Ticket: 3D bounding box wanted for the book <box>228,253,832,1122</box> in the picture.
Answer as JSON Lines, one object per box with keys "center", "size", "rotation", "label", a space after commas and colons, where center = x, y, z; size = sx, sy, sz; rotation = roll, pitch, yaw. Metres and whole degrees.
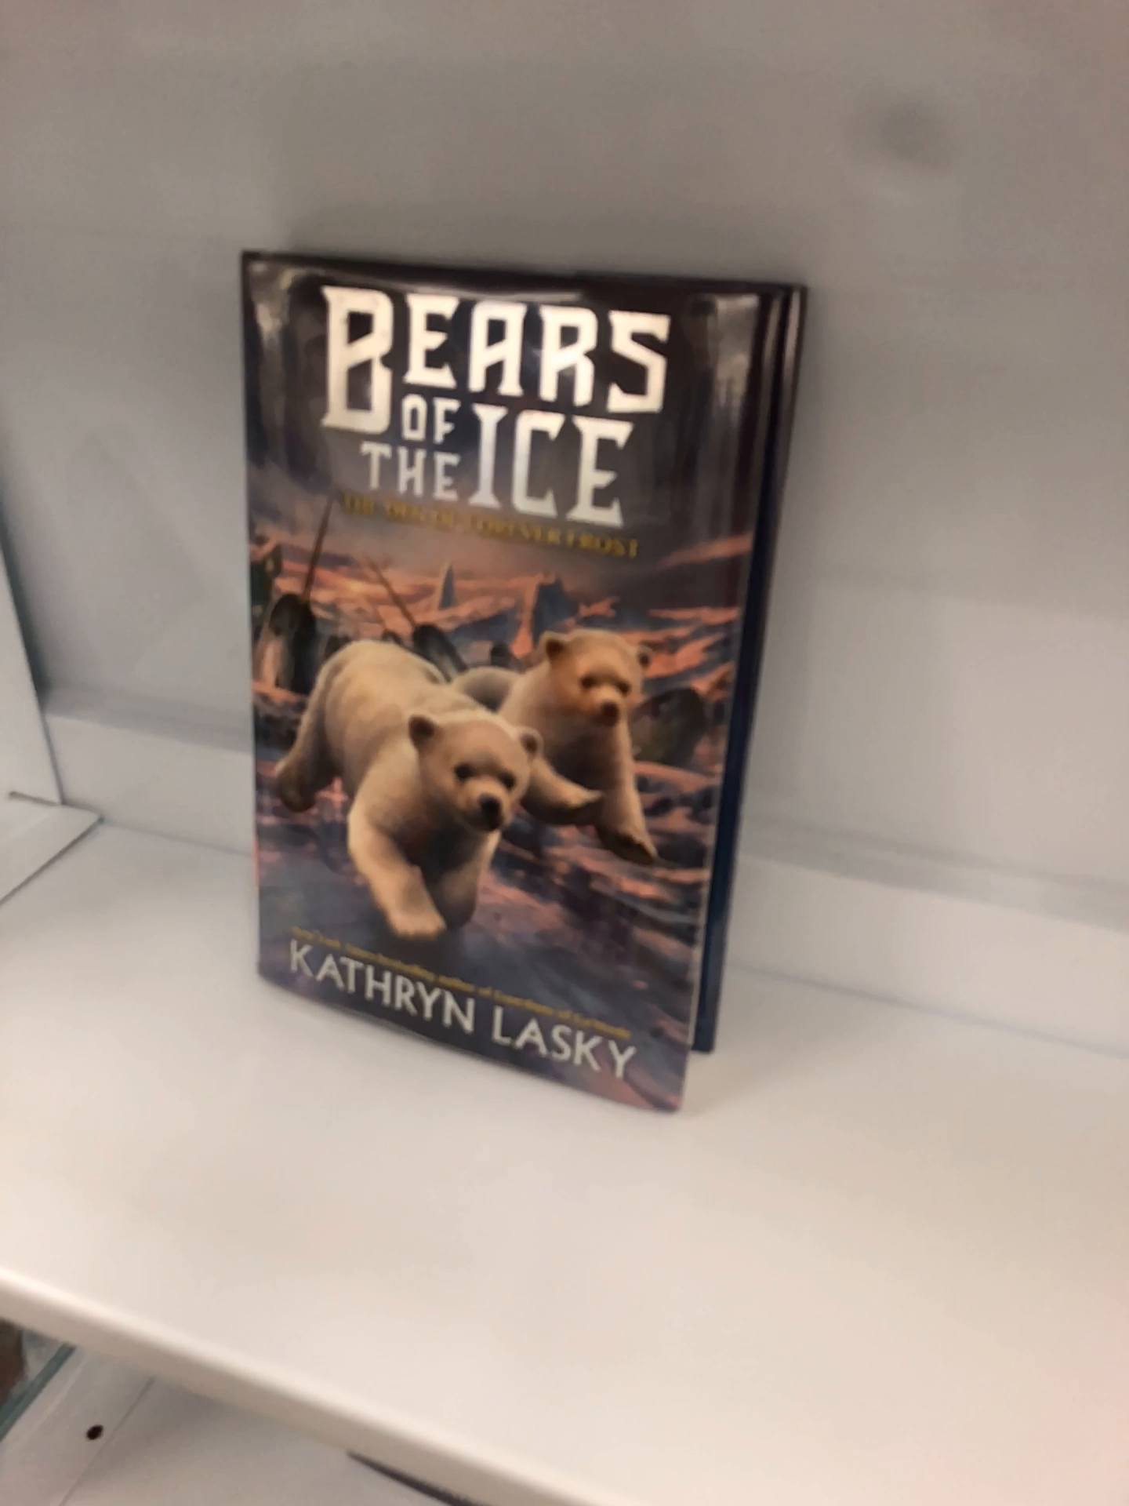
{"center": [-0.018, -0.021, 0.349], "size": [0.150, 0.216, 0.043], "rotation": [12, 22, 22], "label": "book"}
